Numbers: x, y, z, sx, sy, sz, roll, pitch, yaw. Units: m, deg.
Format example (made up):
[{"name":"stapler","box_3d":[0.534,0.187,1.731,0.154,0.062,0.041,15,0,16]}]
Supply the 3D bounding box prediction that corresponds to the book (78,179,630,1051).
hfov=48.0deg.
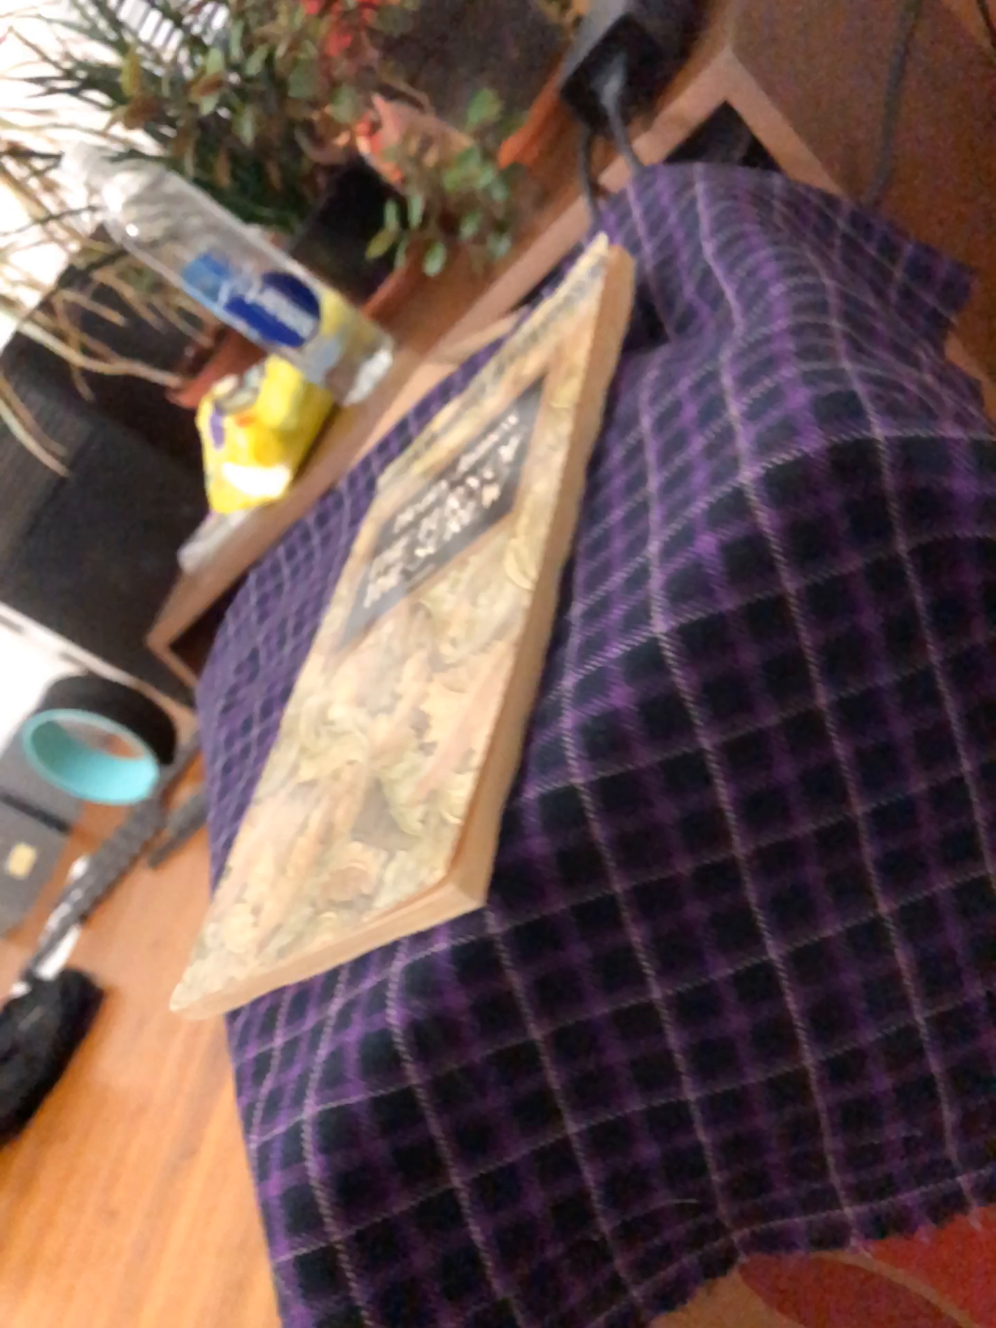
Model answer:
[{"name":"book","box_3d":[-0.032,-0.019,0.291,0.140,0.010,0.221,-33,32,44]}]
